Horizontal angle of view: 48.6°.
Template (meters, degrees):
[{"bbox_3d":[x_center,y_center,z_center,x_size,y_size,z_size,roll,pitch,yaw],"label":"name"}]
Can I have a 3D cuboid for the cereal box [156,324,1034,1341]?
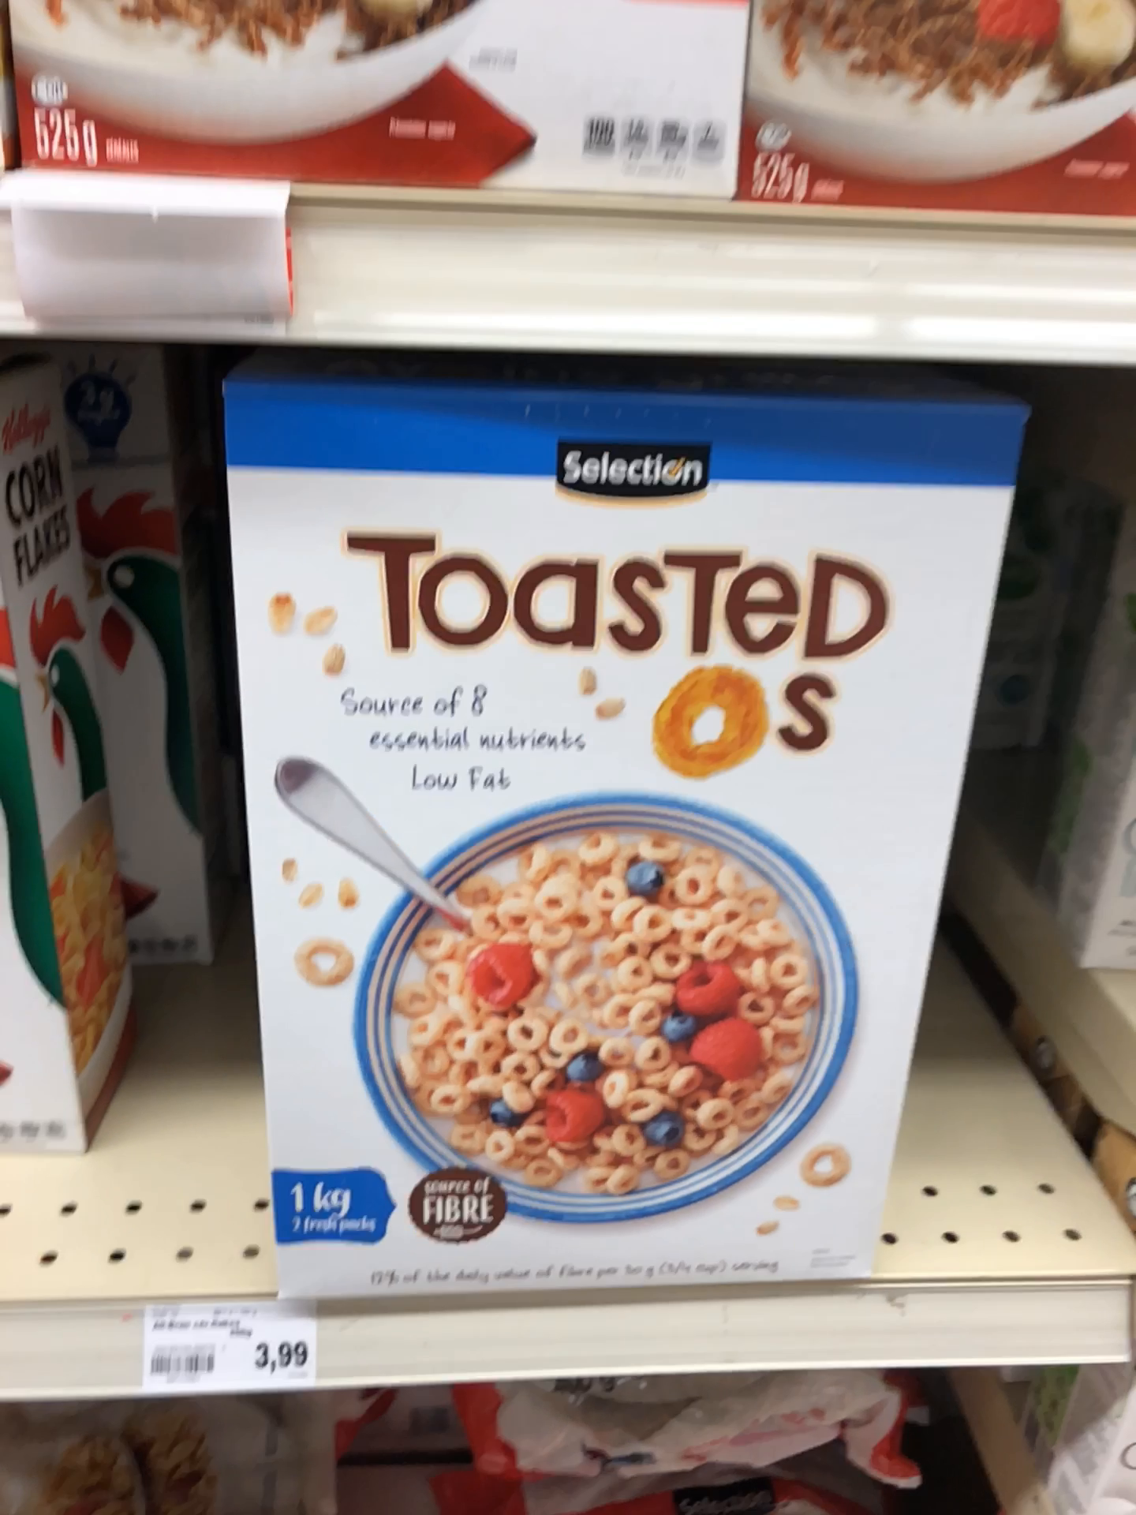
[{"bbox_3d":[-0.002,0.023,0.478,0.240,0.338,0.161,0,22,-6],"label":"cereal box"}]
